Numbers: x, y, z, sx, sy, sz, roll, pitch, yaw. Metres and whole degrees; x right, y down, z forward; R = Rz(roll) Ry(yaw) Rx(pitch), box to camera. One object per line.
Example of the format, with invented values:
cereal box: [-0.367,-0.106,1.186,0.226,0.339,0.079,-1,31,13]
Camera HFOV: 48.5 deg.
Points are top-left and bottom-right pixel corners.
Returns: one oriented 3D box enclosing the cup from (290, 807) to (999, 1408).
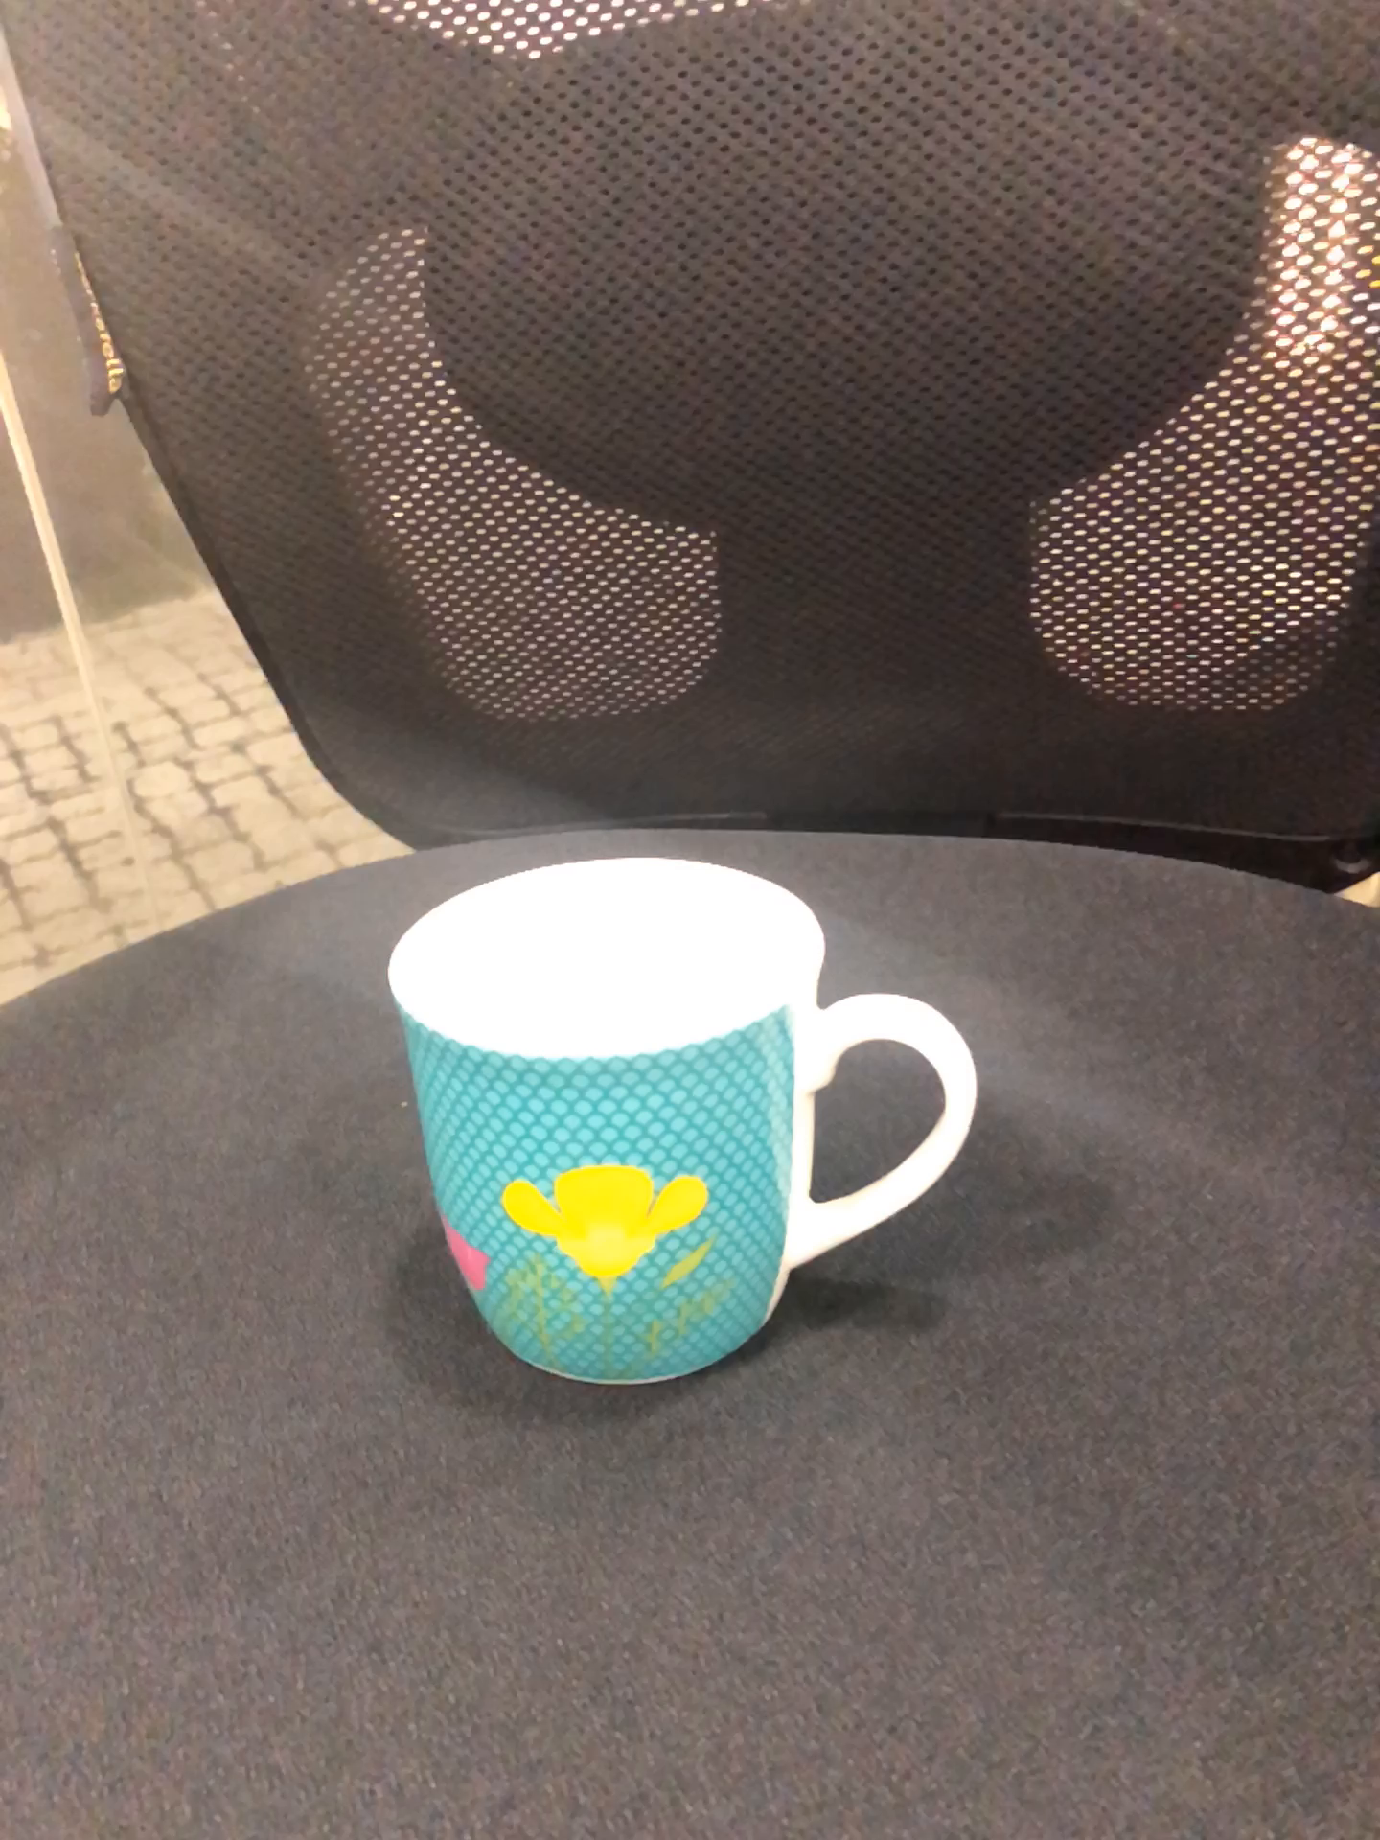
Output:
cup: [-0.005,0.034,0.287,0.110,0.080,0.070,-3,30,2]
